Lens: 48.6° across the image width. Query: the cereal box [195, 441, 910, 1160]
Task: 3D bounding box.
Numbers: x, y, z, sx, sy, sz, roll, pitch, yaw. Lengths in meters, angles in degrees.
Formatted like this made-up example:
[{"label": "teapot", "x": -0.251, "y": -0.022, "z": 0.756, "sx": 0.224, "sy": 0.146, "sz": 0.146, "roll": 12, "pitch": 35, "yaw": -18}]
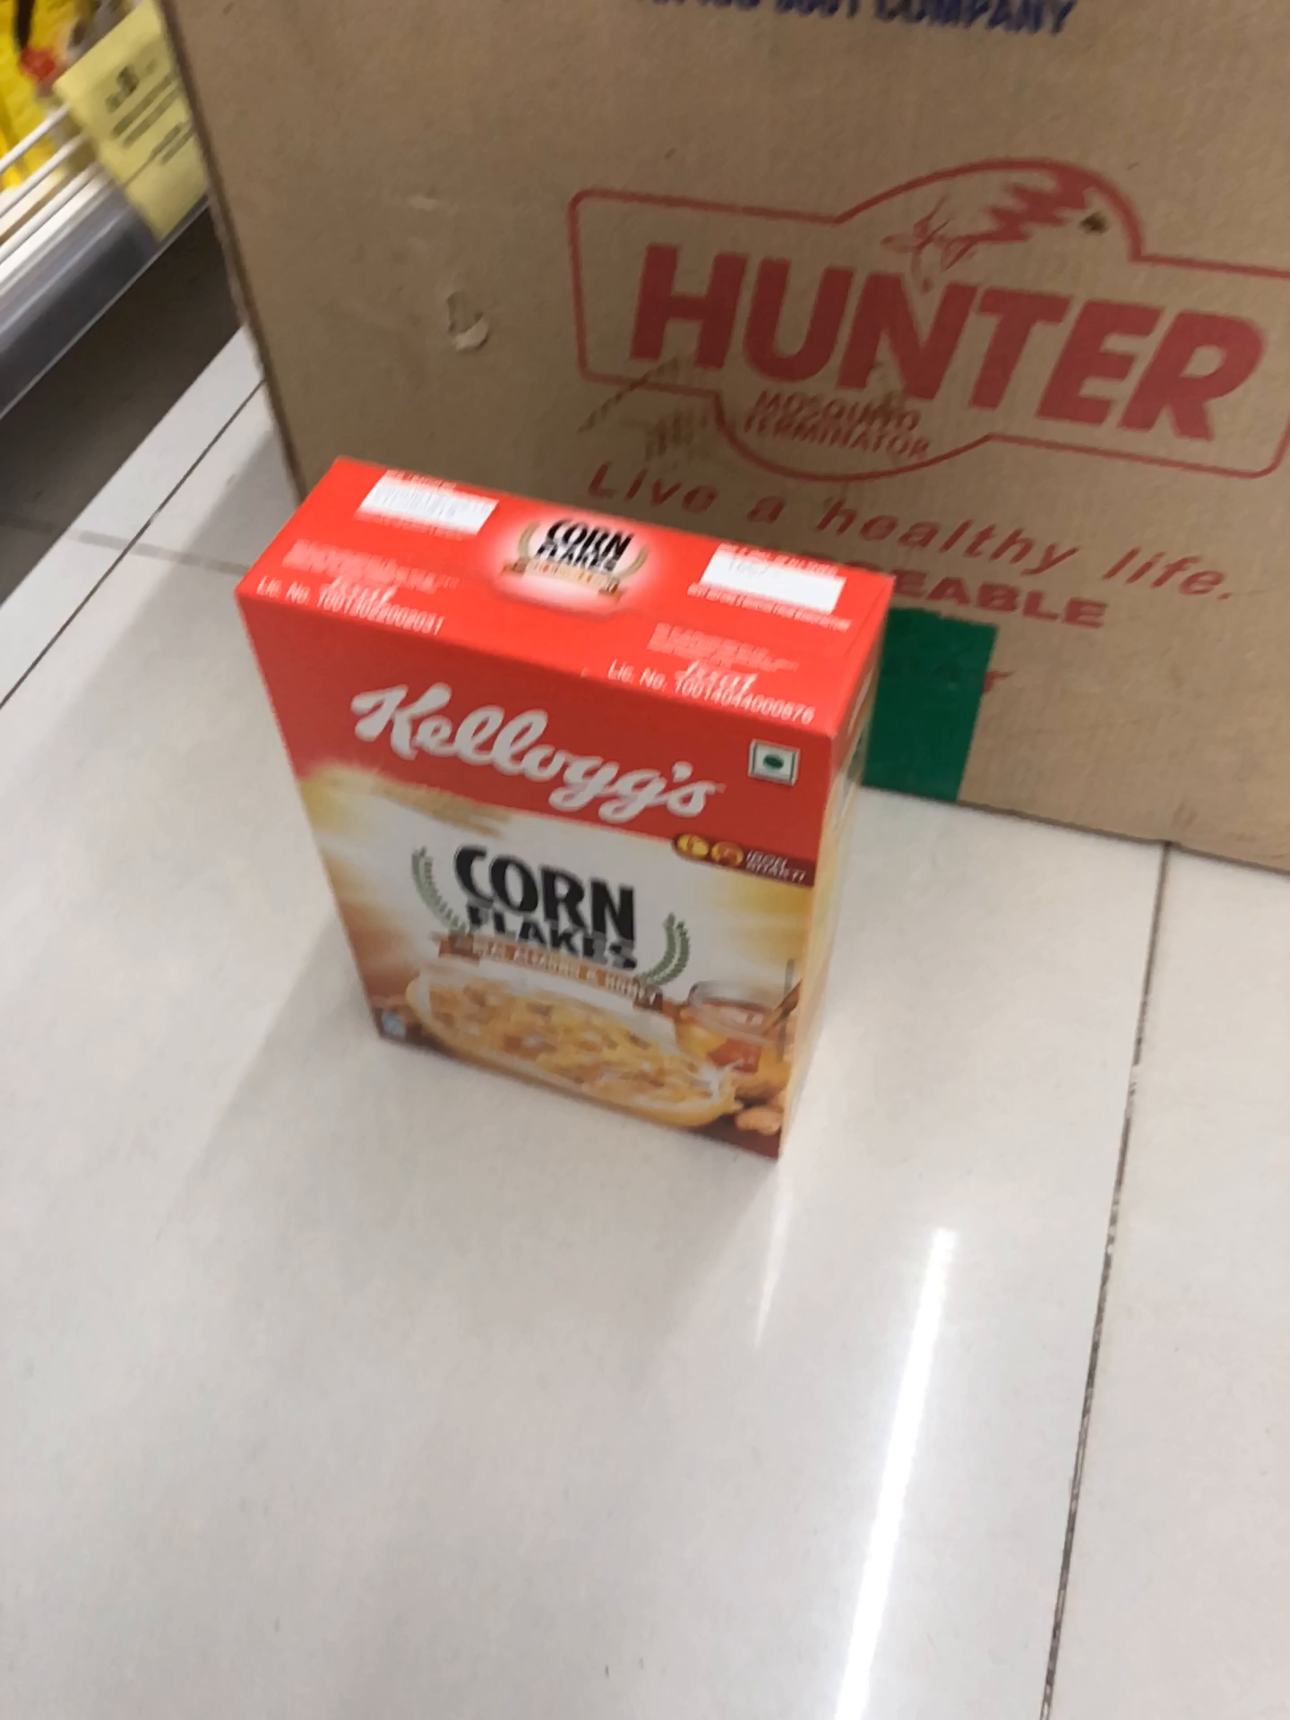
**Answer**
[{"label": "cereal box", "x": -0.026, "y": -0.006, "z": 0.527, "sx": 0.200, "sy": 0.259, "sz": 0.070, "roll": 15, "pitch": 55, "yaw": 12}]
